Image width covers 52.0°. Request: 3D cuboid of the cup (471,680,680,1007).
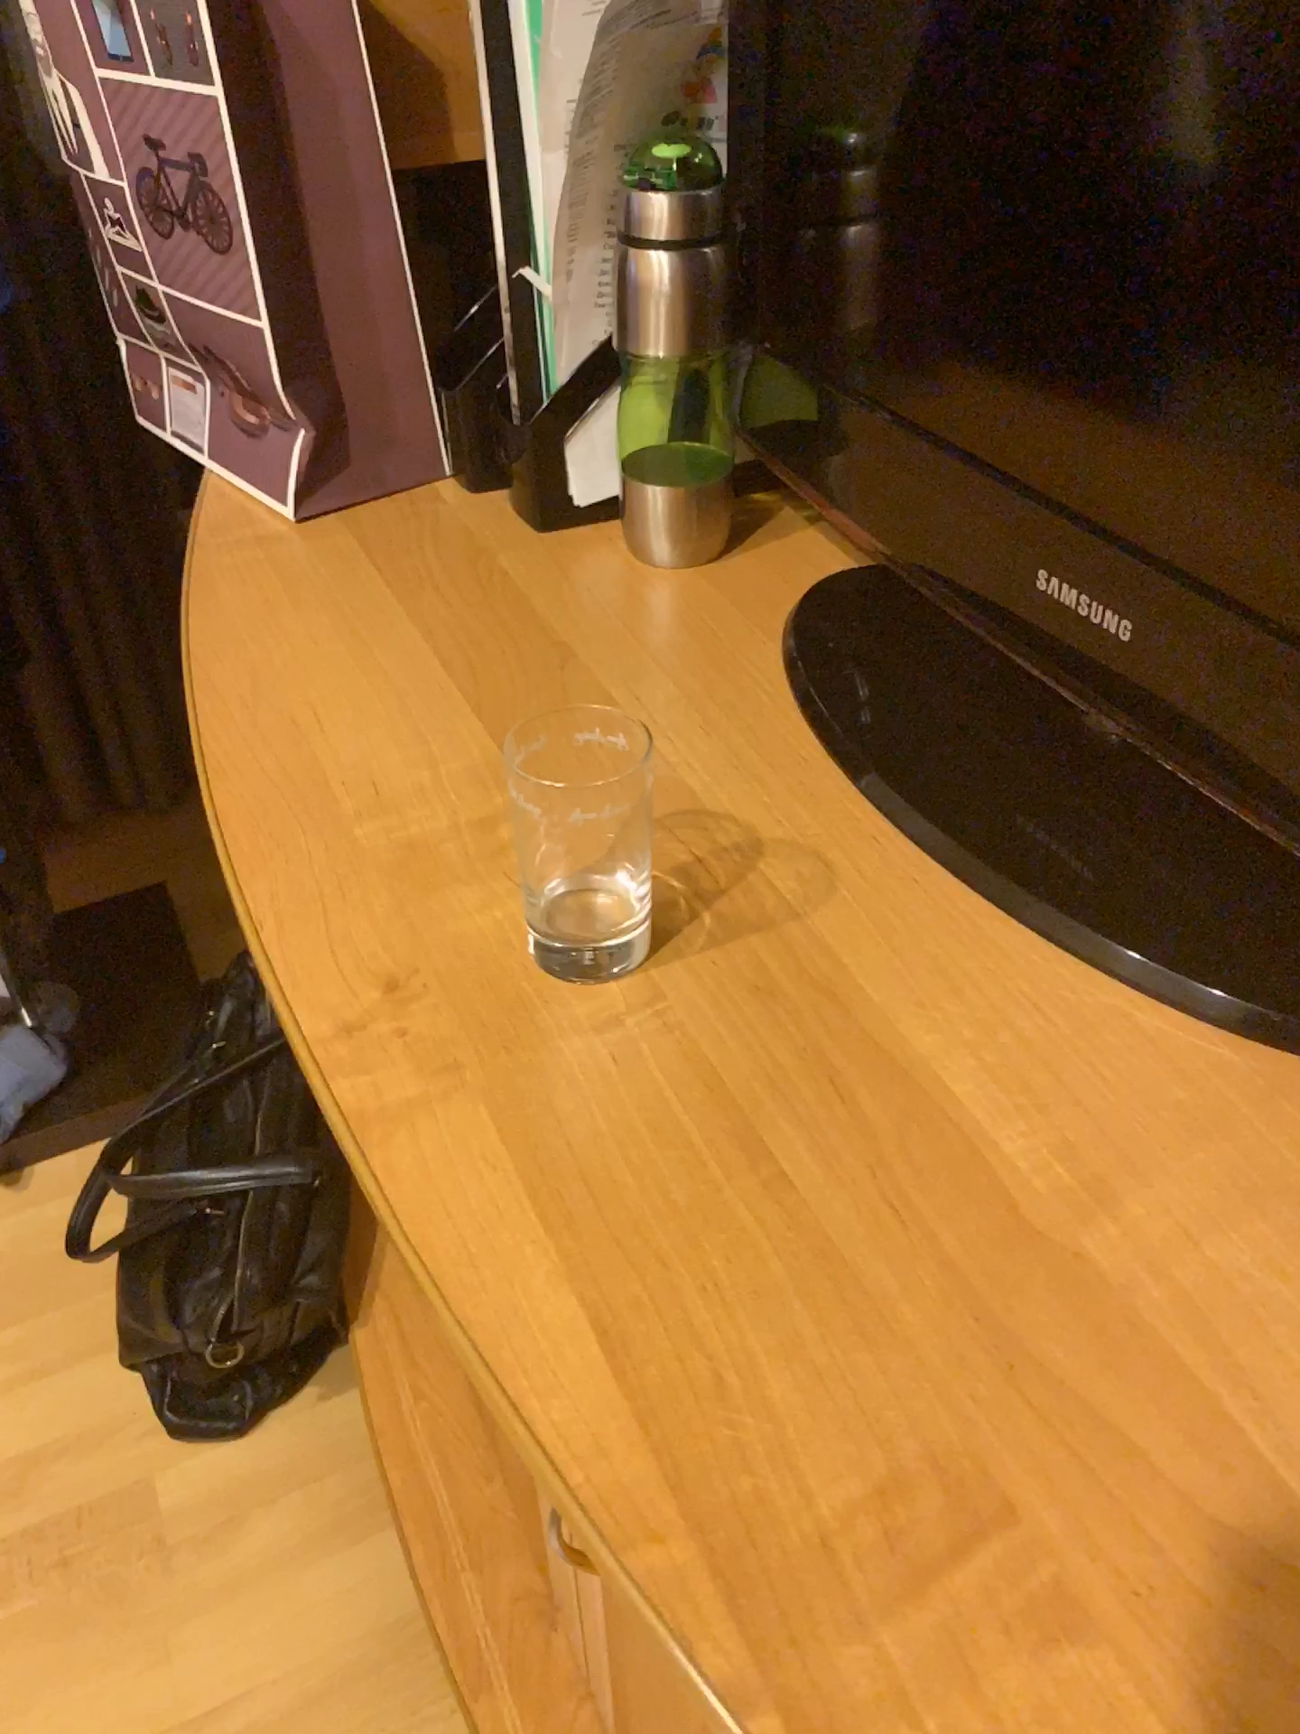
[{"bbox_3d":[-0.028,-0.009,0.515,0.060,0.099,0.061,-1,37,1],"label":"cup"}]
